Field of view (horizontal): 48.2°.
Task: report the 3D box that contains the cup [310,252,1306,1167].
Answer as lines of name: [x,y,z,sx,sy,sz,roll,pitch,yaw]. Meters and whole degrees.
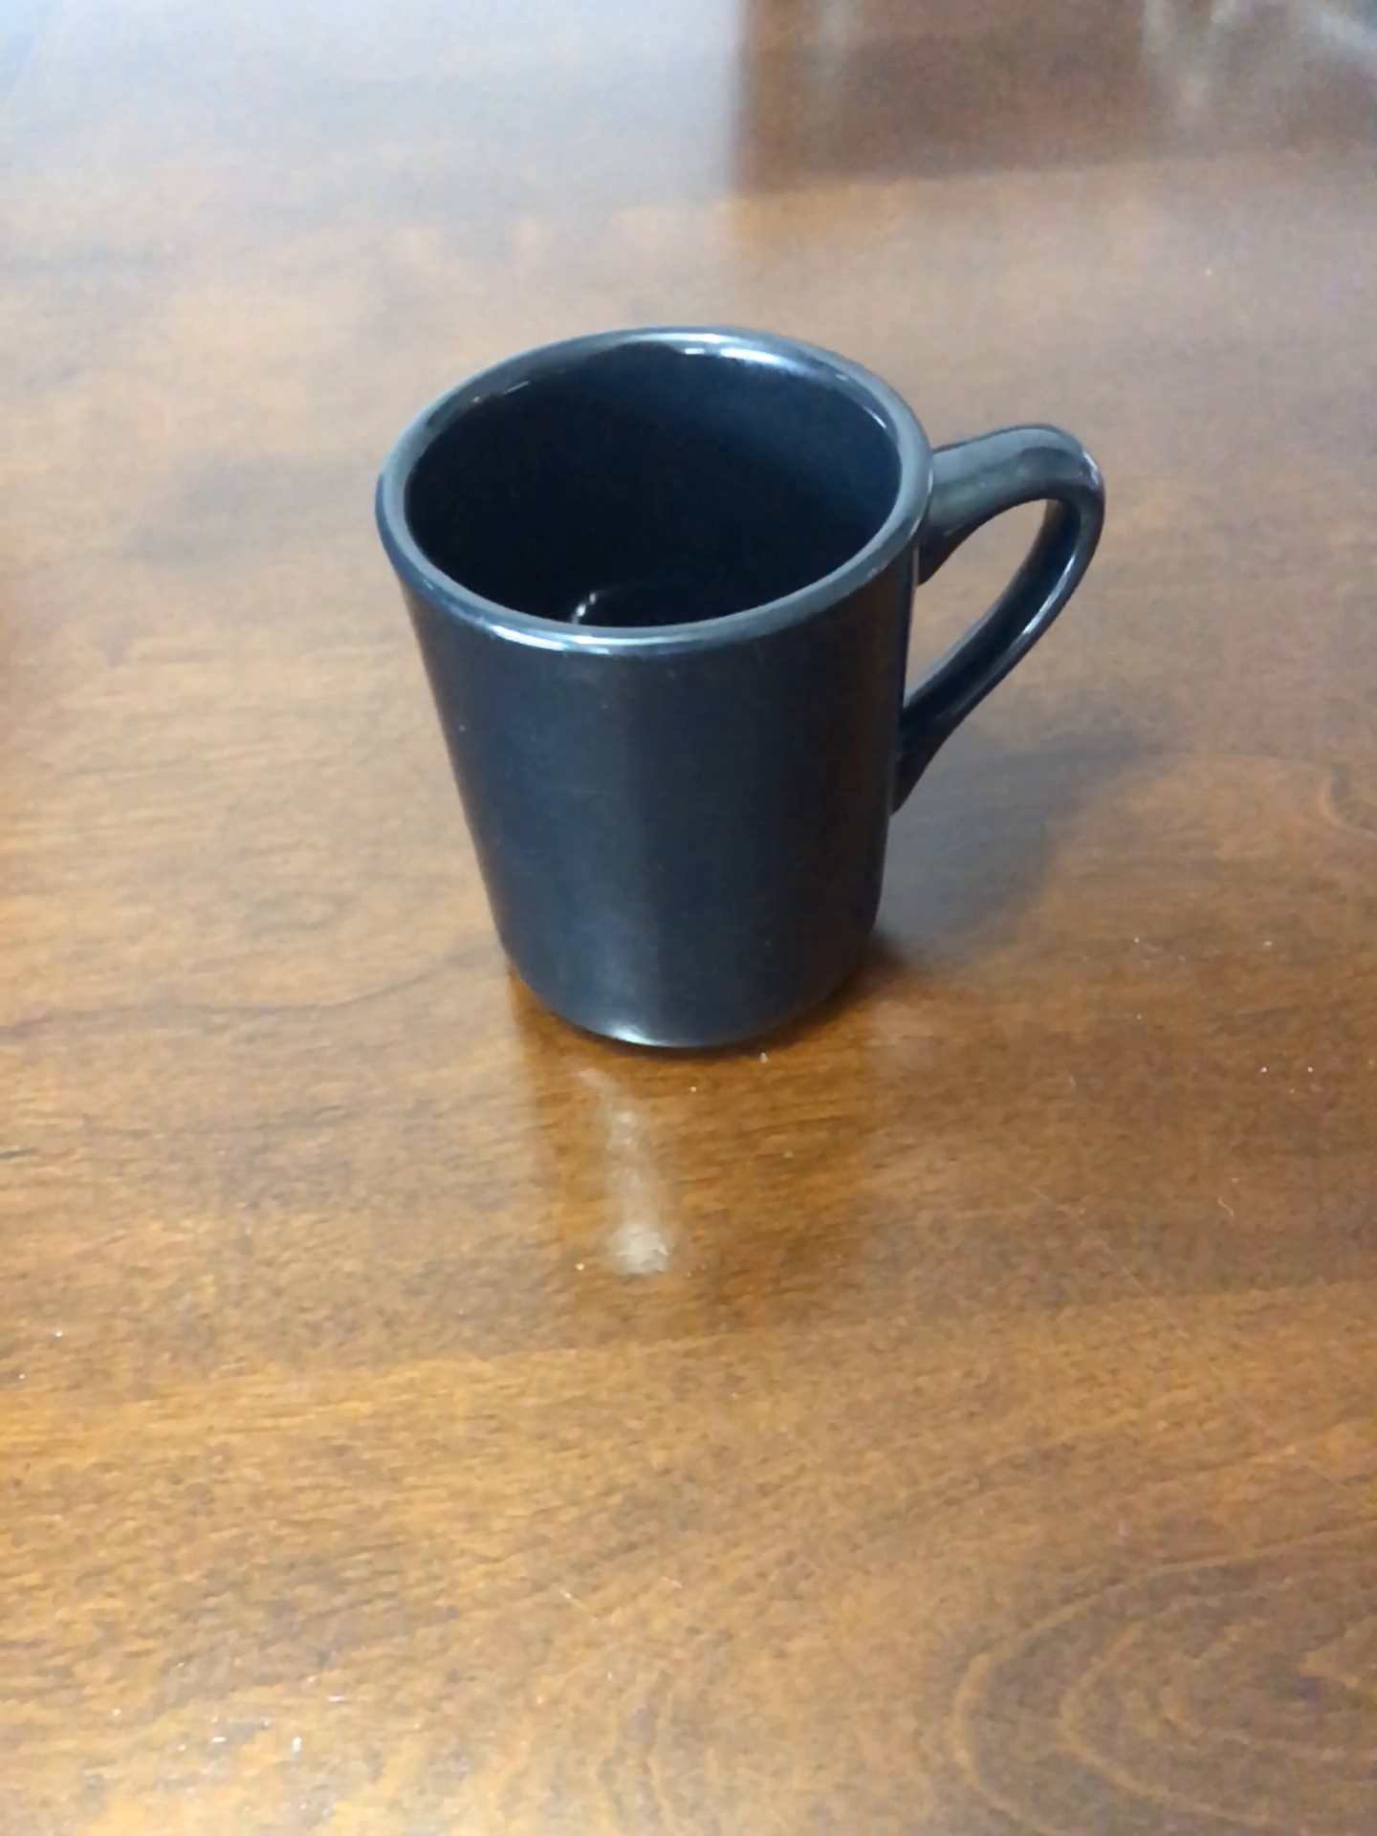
cup: [0.013,-0.036,0.256,0.120,0.090,0.090,-14,50,-8]
